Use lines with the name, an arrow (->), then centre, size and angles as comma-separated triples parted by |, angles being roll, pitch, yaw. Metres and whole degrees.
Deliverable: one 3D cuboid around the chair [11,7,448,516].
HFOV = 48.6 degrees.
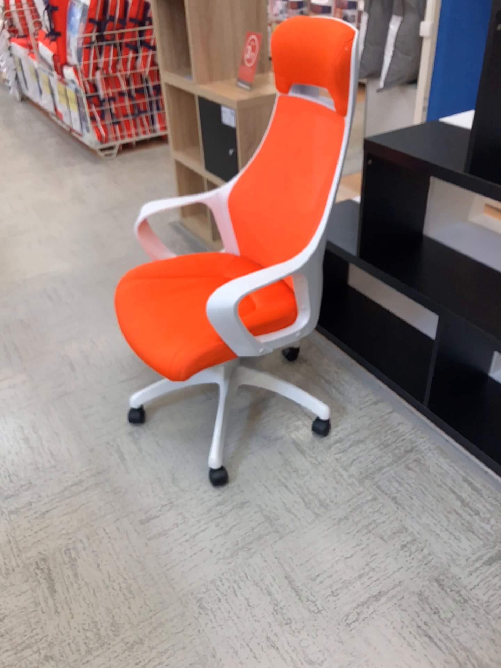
chair -> -0.066, -0.239, 1.530 | 0.752, 1.054, 0.682 | -19, 38, -21
